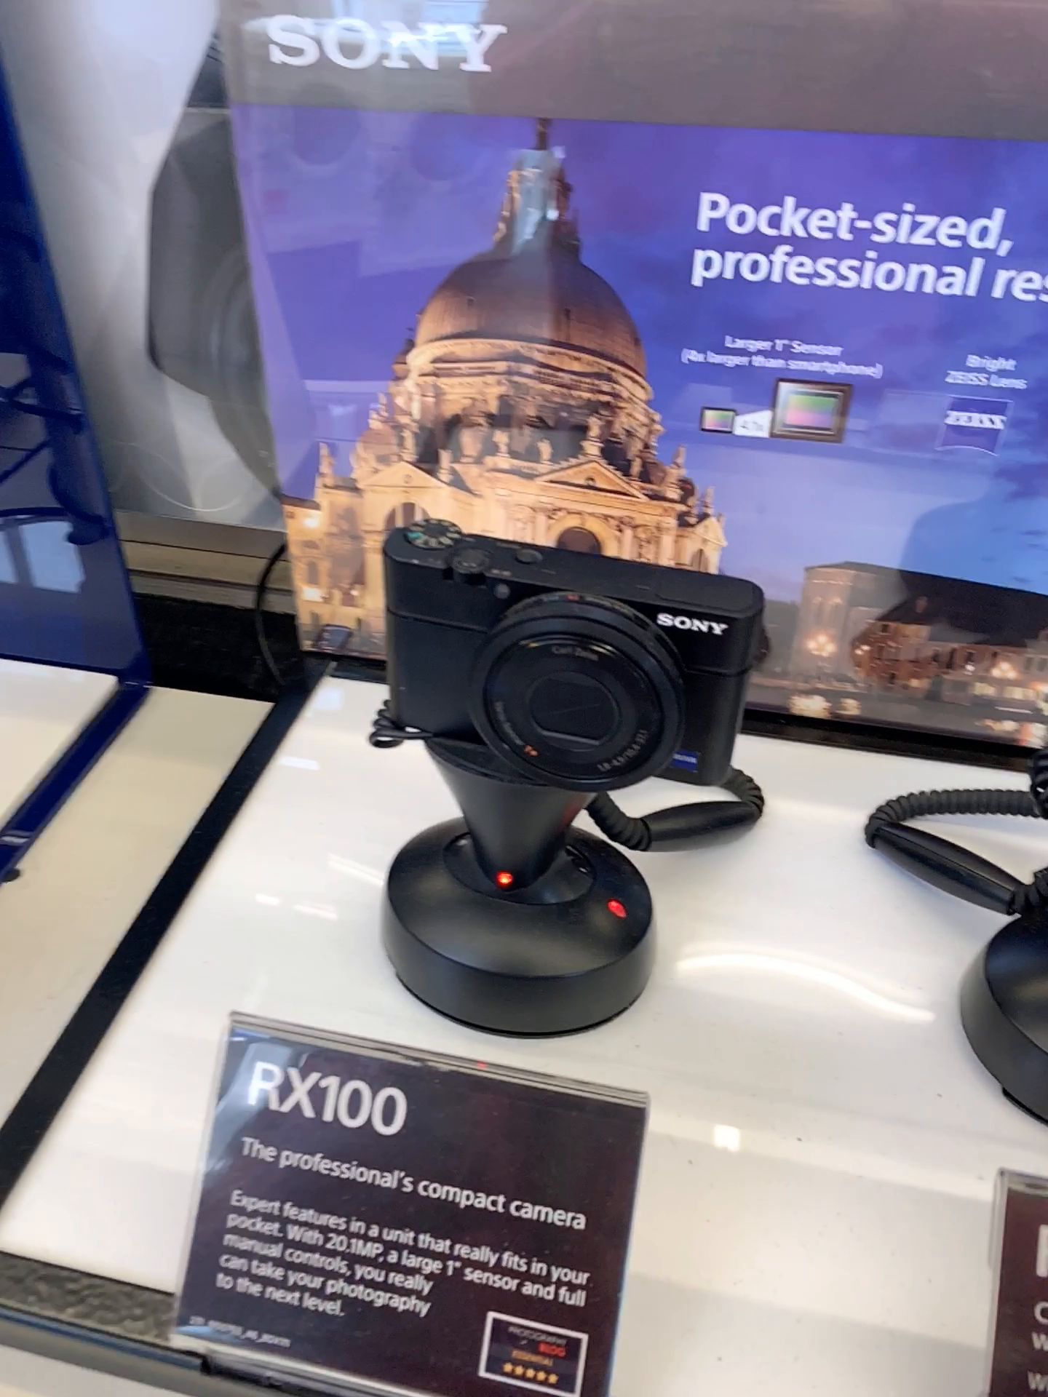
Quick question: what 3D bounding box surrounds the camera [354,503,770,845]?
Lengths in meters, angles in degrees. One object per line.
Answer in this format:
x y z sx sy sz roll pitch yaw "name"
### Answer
0.011 -0.007 0.296 0.100 0.069 0.040 9 38 11 "camera"
